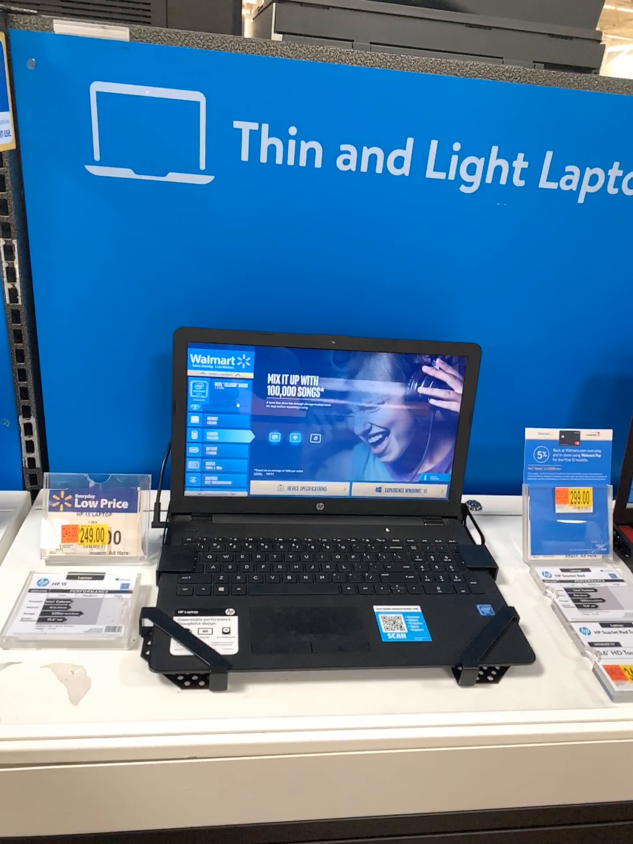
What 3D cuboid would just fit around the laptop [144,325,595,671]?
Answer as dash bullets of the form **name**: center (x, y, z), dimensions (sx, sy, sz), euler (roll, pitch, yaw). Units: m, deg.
- **laptop**: center (0.023, 0.061, 0.682), dimensions (0.363, 0.225, 0.287), euler (2, 26, -9)
